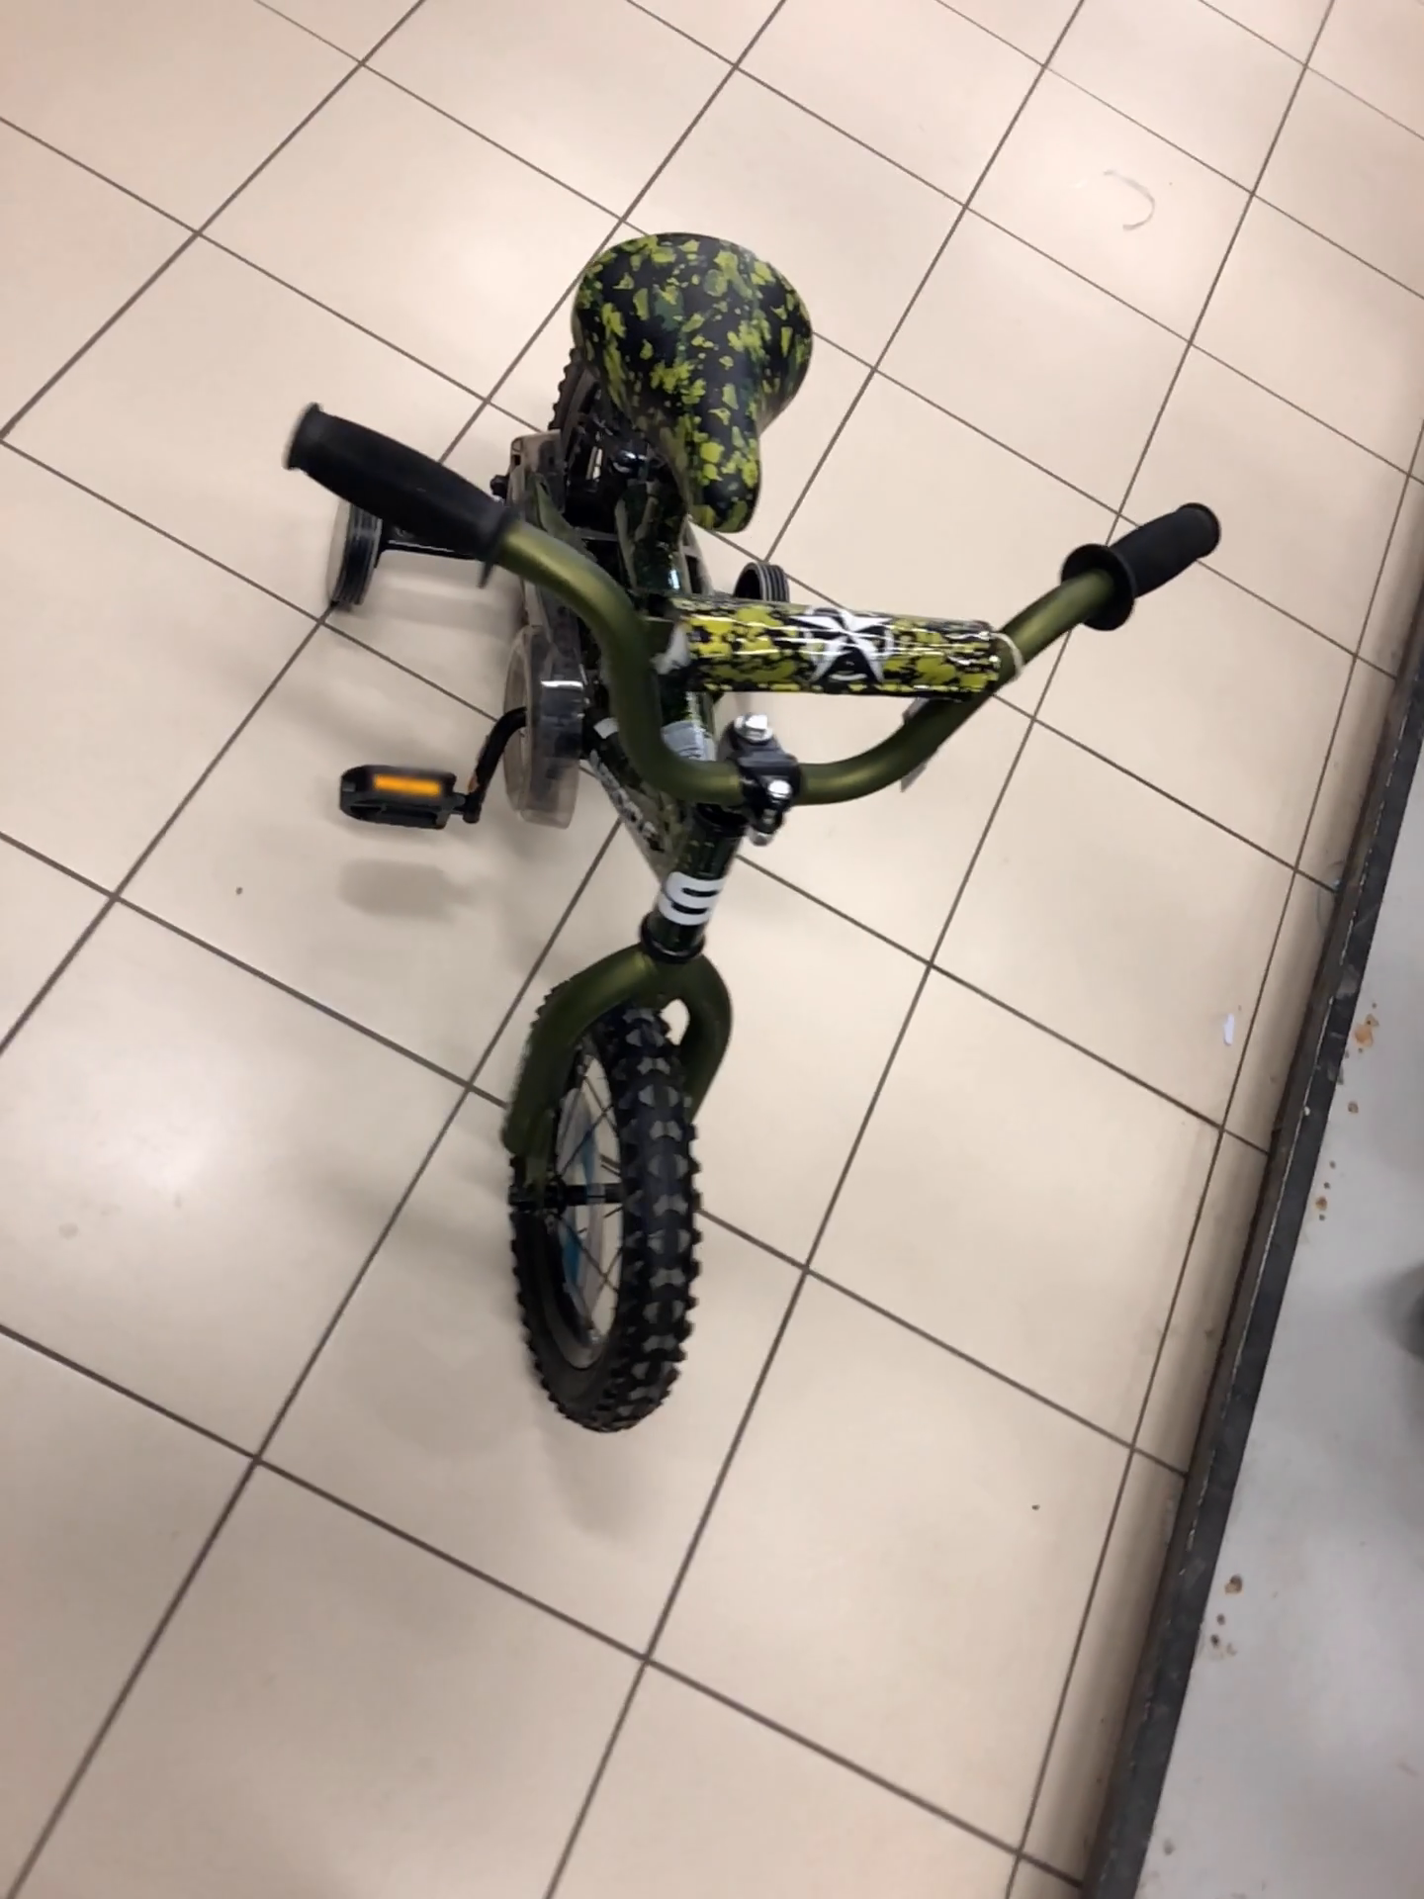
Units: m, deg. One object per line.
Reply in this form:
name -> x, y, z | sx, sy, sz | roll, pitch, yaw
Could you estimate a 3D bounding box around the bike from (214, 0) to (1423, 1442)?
bike -> -0.007, -0.147, 0.973 | 0.533, 0.558, 0.818 | 4, 64, -17
